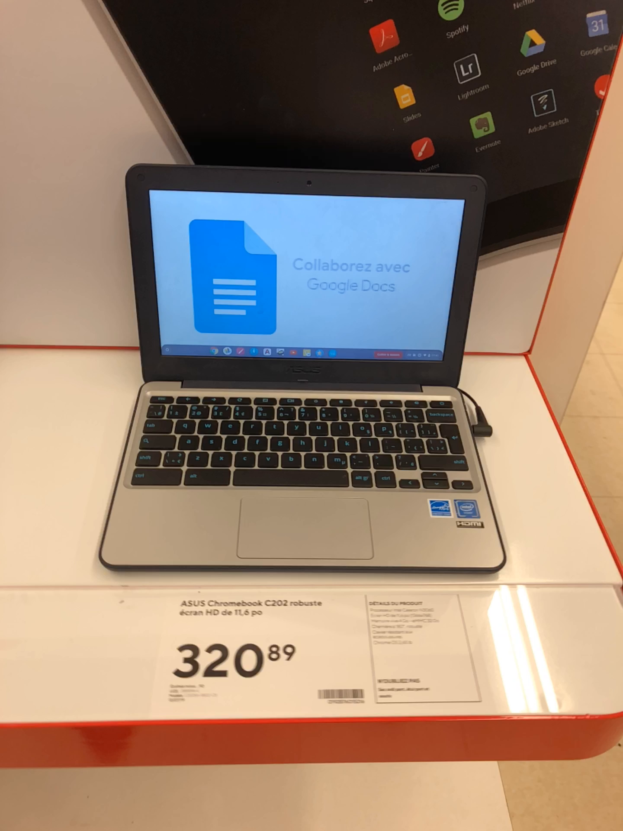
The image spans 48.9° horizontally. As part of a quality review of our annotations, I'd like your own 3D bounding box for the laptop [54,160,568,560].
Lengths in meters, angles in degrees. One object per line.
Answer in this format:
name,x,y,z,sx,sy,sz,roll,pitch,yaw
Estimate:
laptop,-0.003,-0.045,0.505,0.274,0.174,0.231,1,43,-3
